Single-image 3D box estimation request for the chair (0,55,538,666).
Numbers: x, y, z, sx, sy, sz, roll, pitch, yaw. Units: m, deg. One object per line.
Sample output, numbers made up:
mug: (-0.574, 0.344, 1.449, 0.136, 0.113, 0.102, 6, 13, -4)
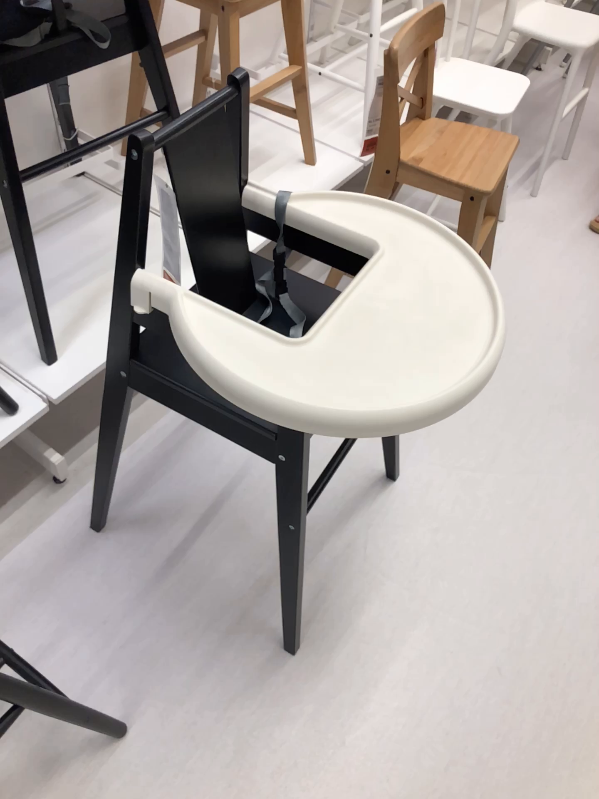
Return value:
chair: (-0.057, -0.043, 1.183, 0.551, 0.775, 0.553, 27, 53, 16)
